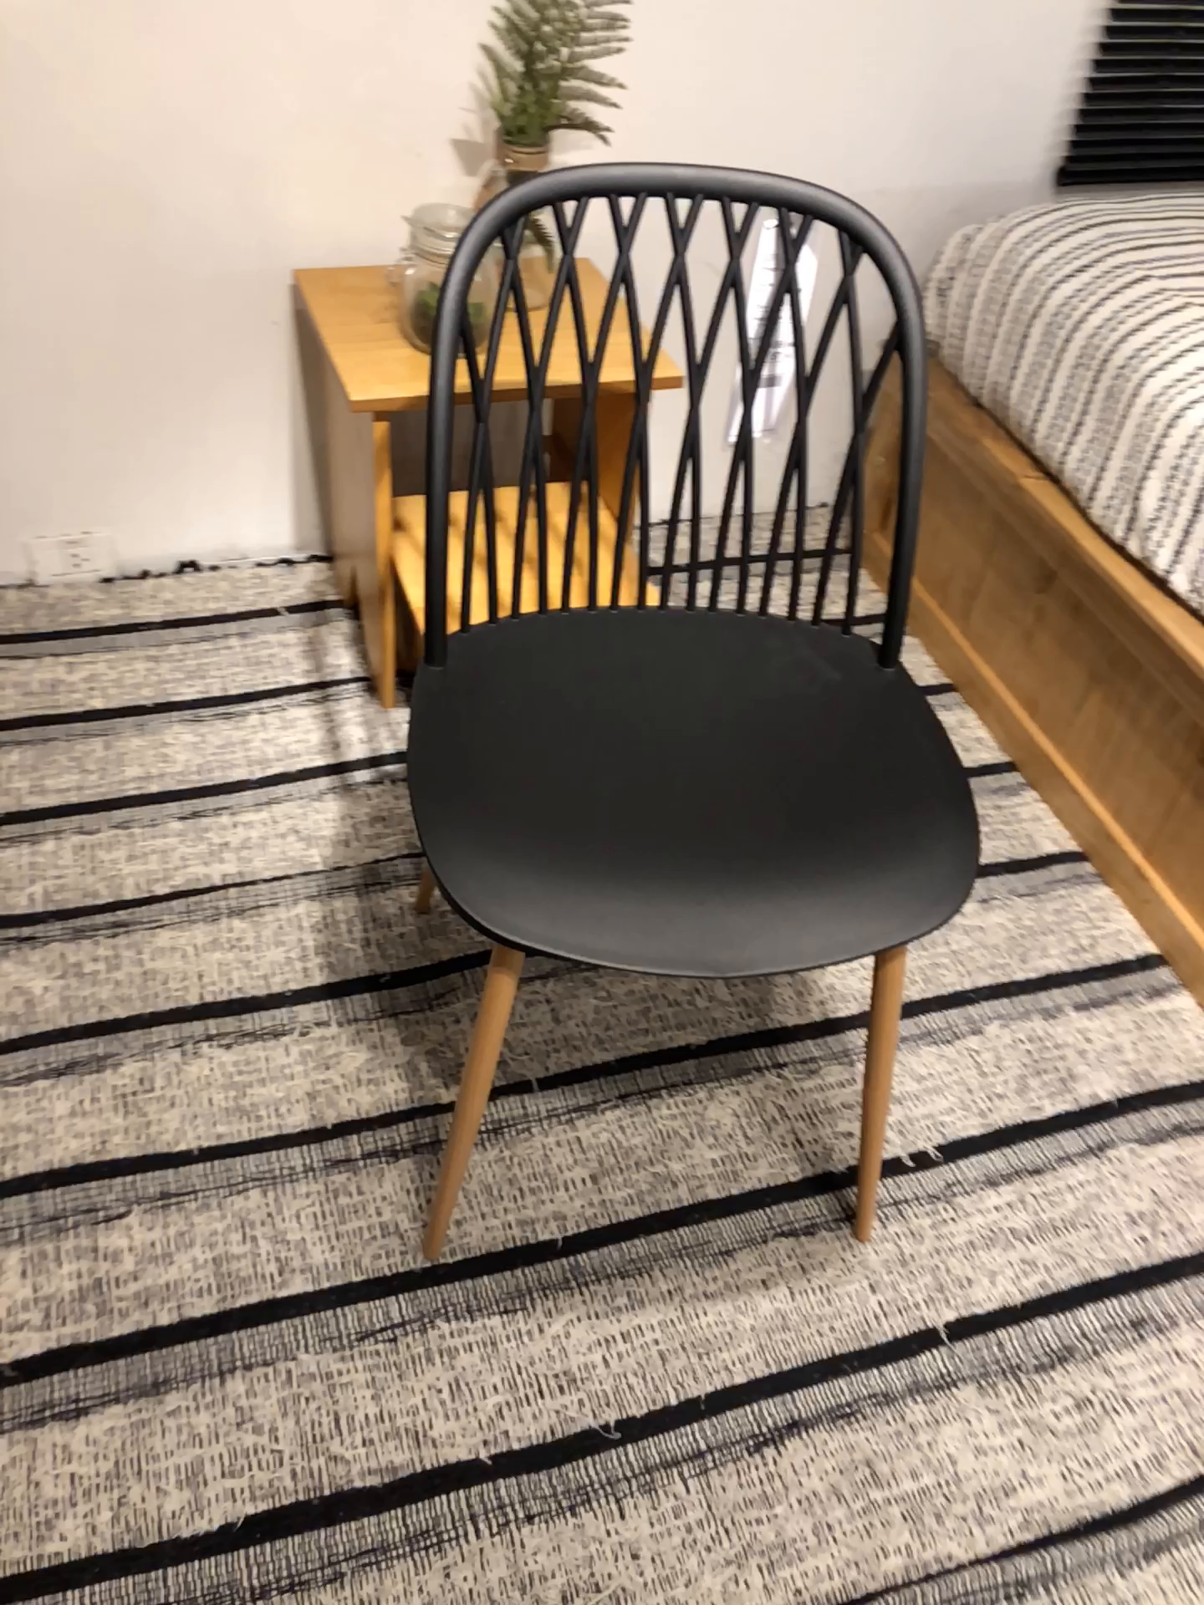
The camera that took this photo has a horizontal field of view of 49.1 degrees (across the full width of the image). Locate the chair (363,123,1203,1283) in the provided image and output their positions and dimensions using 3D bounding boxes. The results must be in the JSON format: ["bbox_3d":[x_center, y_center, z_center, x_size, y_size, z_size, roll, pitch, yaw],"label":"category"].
[{"bbox_3d":[0.061,-0.052,1.108,0.470,0.774,0.544,0,44,-8],"label":"chair"}]
